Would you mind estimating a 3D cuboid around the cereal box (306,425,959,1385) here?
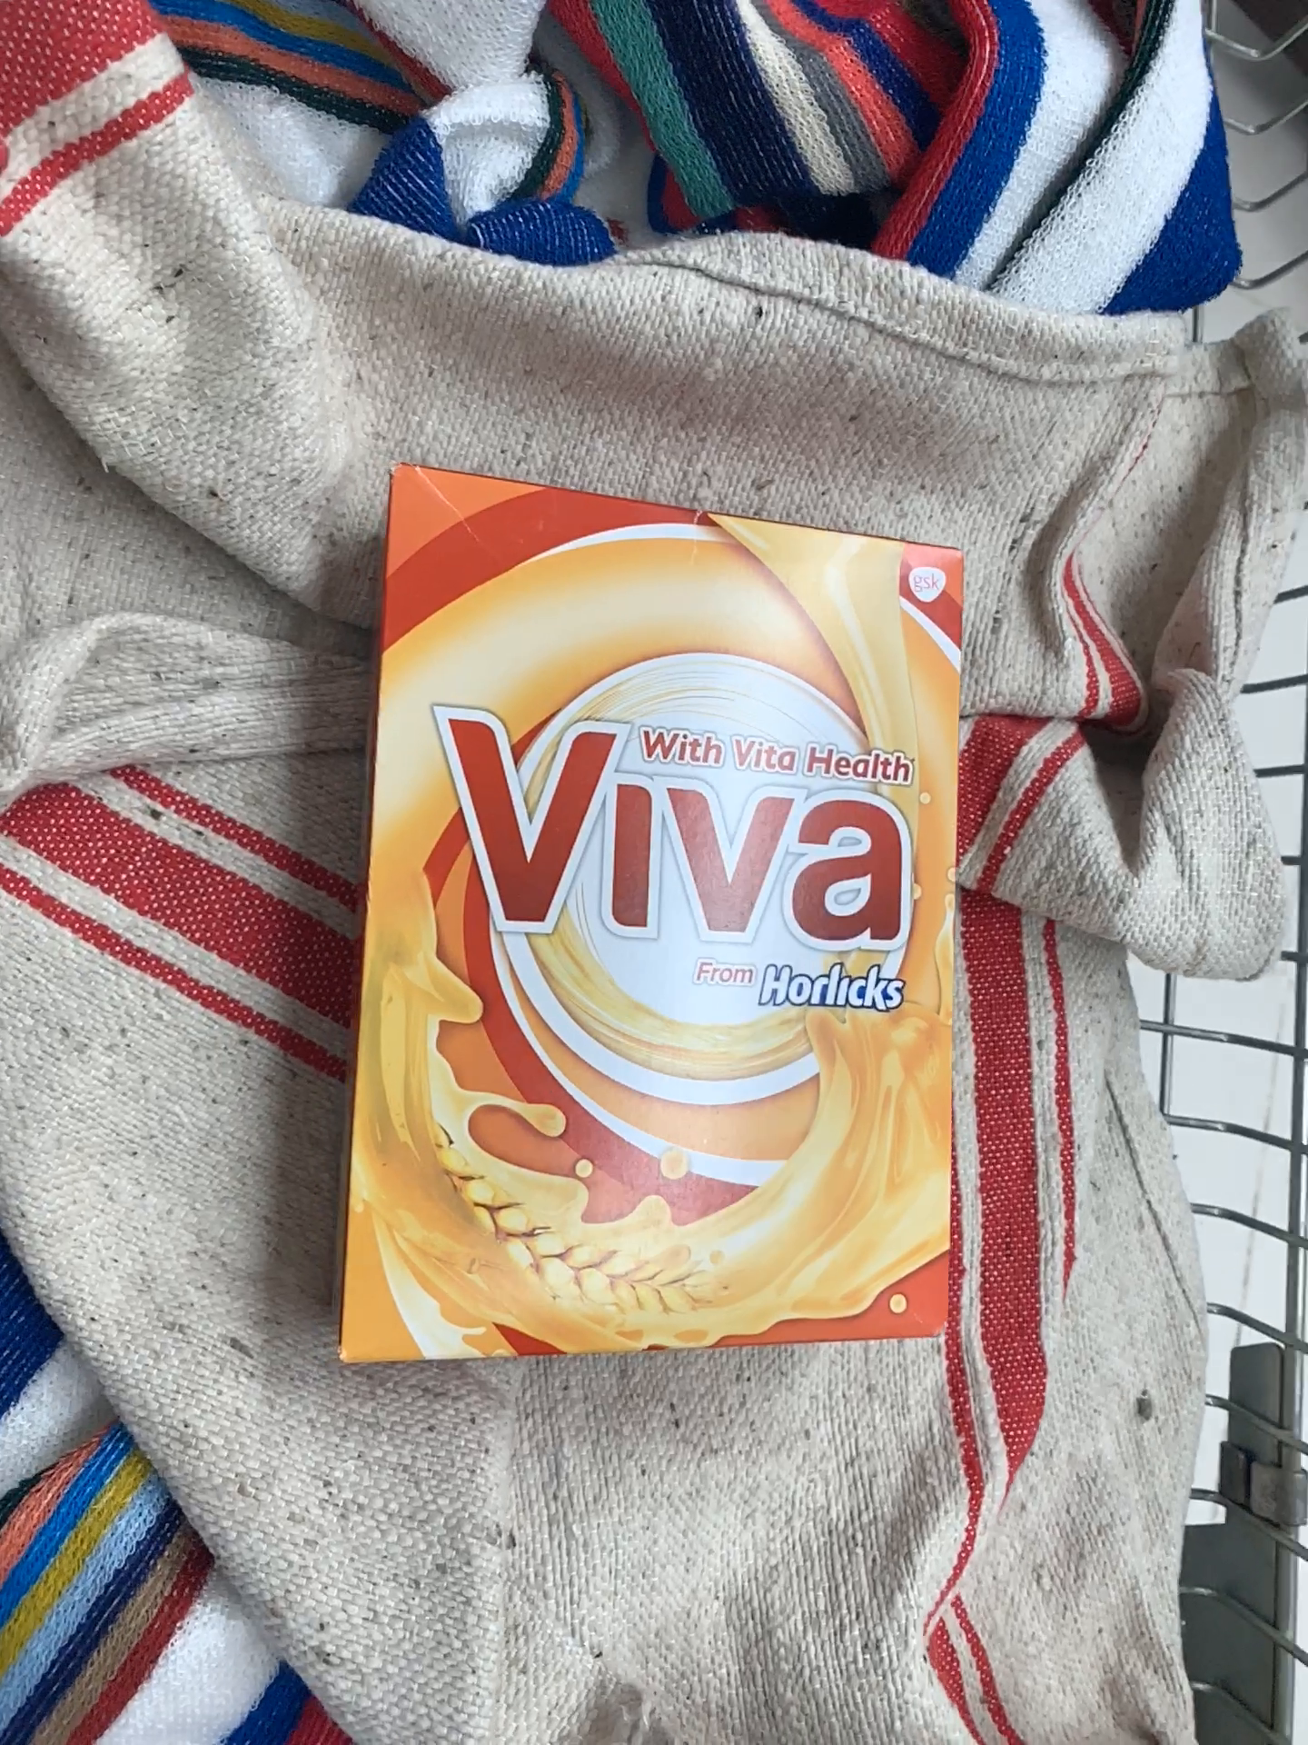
[{"bbox_3d":[-0.005,0.011,0.338,0.140,0.070,0.200,4,85,-21],"label":"cereal box"}]
